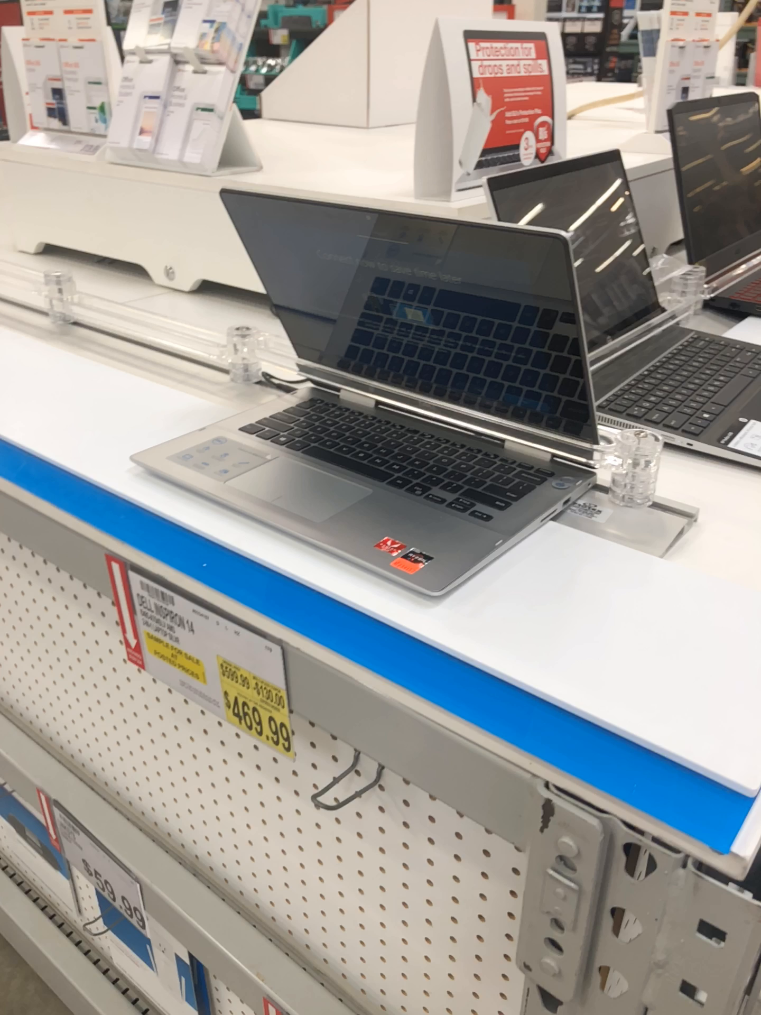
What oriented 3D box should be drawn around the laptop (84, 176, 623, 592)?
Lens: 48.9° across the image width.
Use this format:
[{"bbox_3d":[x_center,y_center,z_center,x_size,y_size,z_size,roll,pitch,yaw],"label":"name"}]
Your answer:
[{"bbox_3d":[-0.023,-0.124,0.645,0.319,0.198,0.223,21,35,34],"label":"laptop"}]
